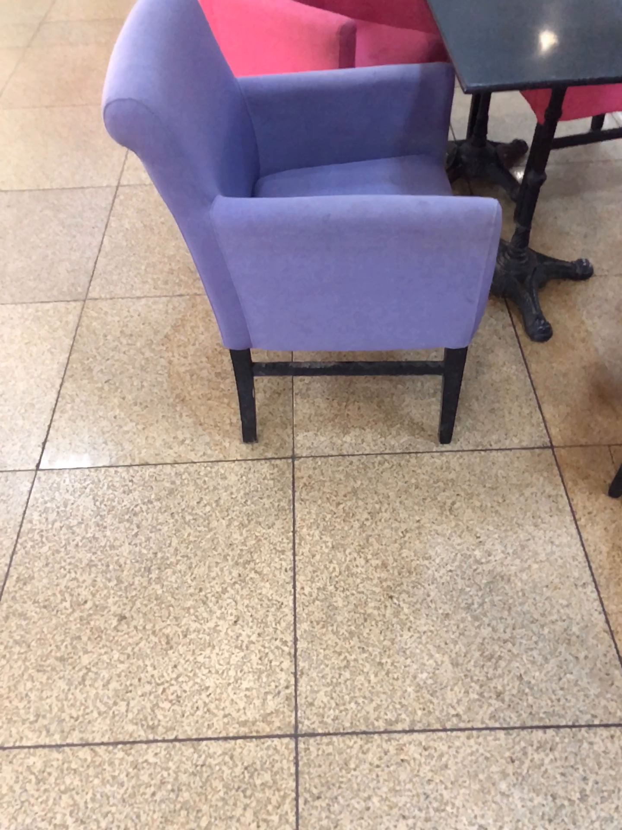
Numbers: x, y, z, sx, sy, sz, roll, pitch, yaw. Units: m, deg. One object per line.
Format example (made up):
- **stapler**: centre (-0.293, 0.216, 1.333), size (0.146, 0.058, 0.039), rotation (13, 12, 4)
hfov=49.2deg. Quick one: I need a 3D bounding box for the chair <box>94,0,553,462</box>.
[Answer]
- **chair**: centre (0.023, -0.394, 1.407), size (0.610, 0.817, 0.592), rotation (-2, 50, 1)
